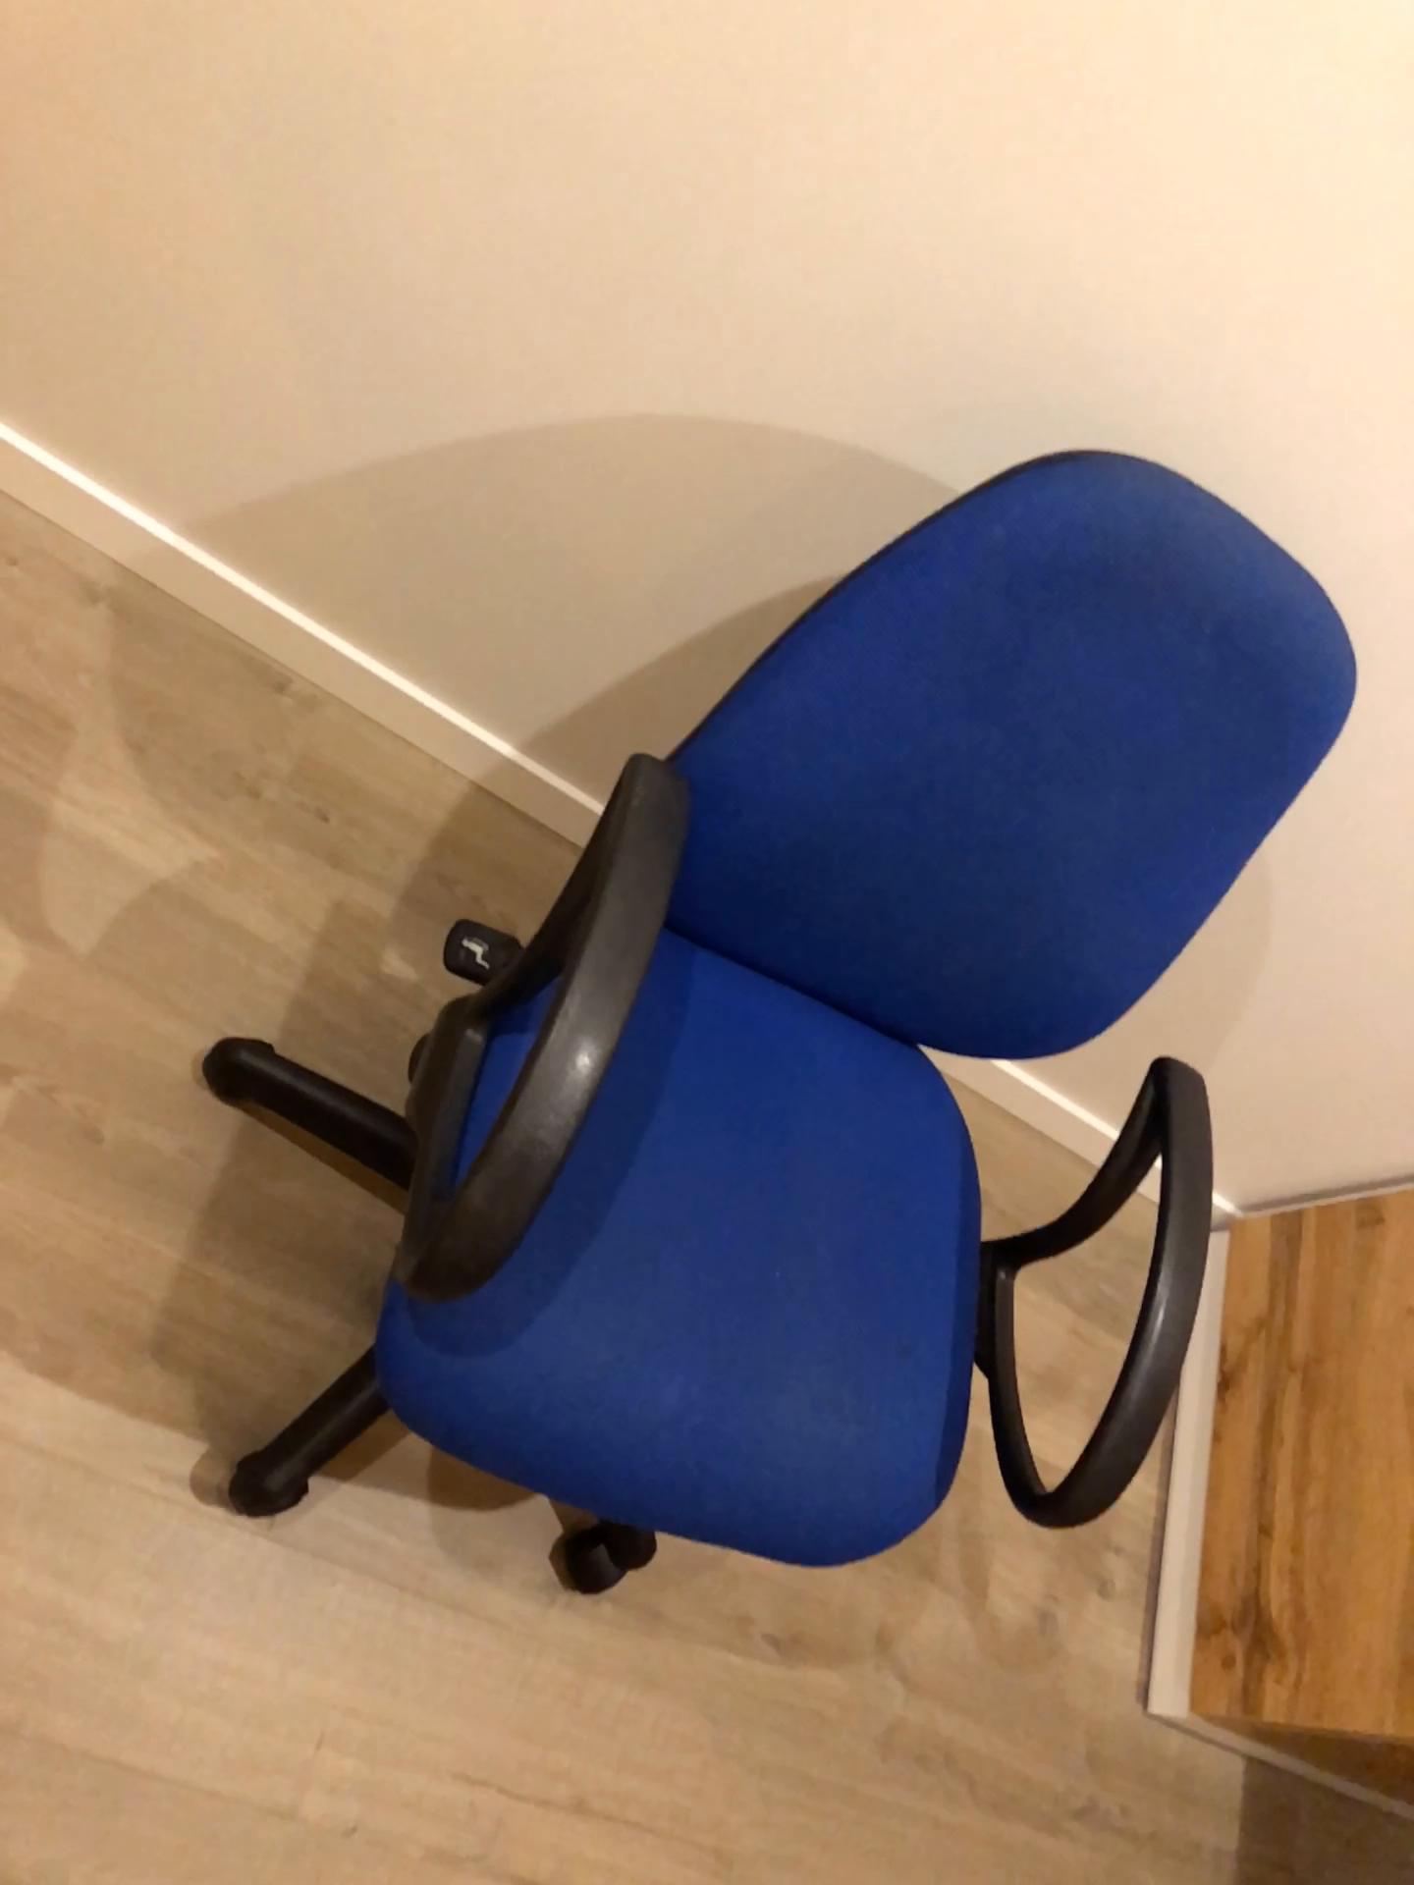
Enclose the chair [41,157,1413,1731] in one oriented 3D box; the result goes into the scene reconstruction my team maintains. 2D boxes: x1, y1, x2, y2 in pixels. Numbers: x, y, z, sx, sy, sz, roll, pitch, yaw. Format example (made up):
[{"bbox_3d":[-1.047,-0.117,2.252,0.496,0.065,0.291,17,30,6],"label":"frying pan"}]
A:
[{"bbox_3d":[0.059,0.130,1.214,0.697,0.905,0.702,26,60,-27],"label":"chair"}]
